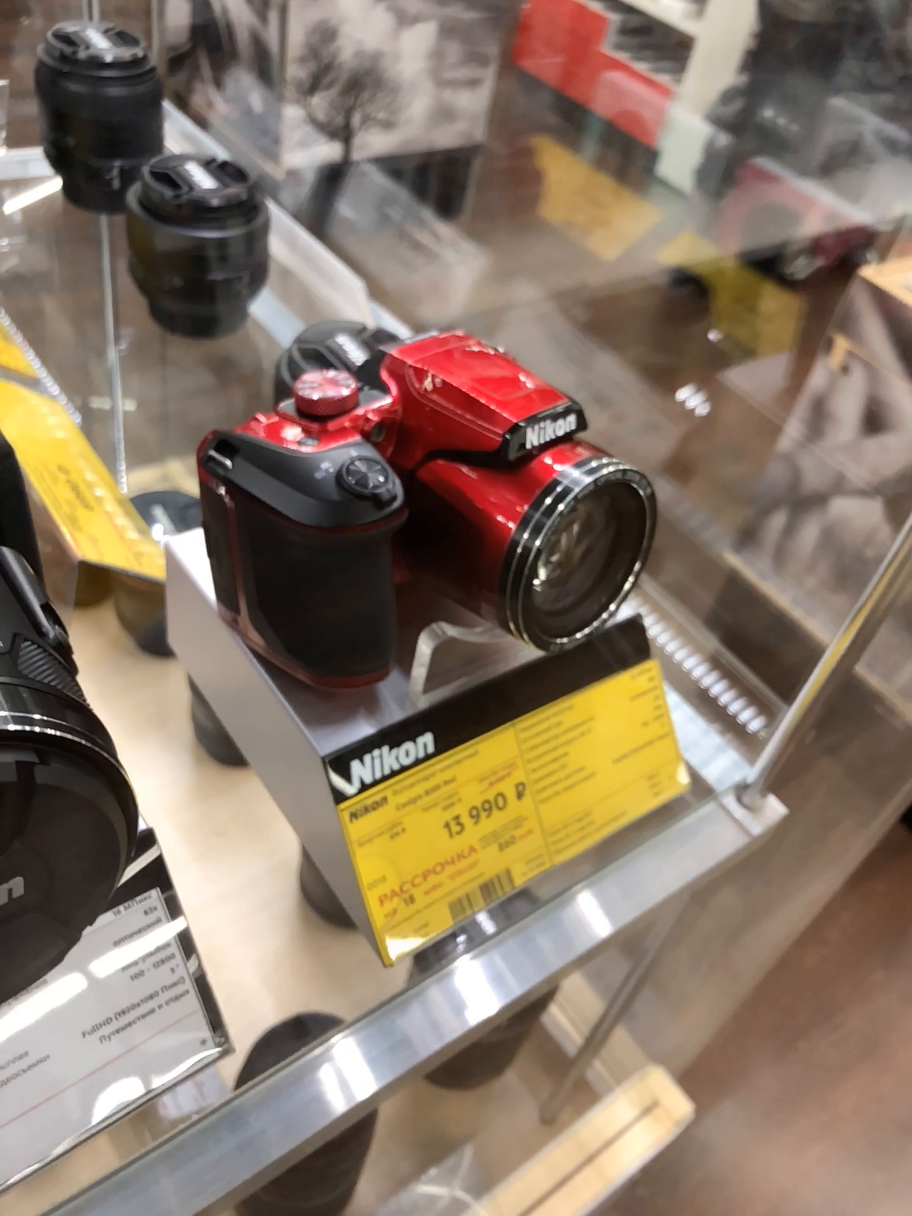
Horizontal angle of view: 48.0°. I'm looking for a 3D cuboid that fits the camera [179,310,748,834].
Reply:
[{"bbox_3d":[-0.004,-0.019,0.313,0.120,0.076,0.110,-22,54,-31],"label":"camera"}]
